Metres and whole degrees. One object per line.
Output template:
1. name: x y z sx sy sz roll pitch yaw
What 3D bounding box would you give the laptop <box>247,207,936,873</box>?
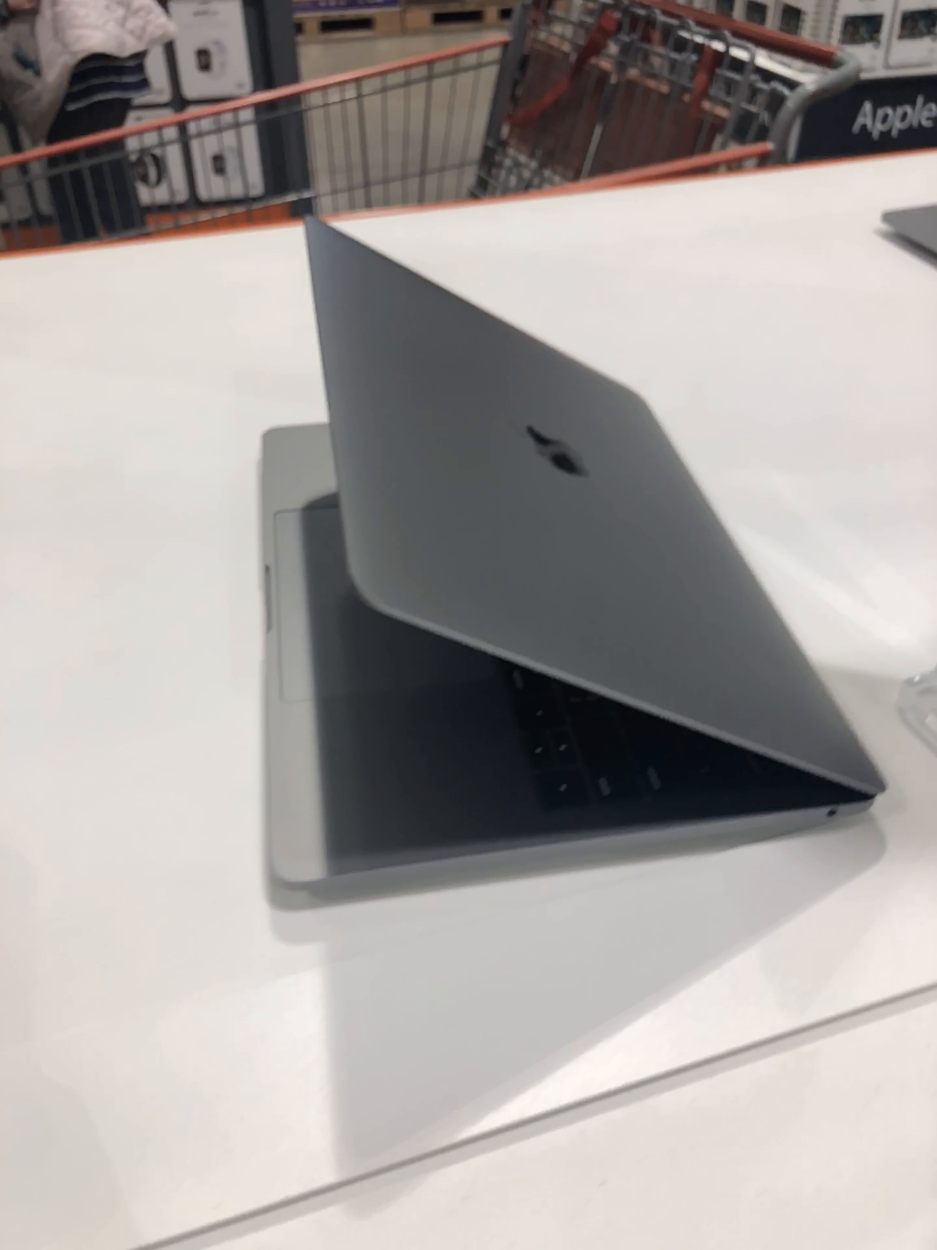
1. laptop: 0.018 -0.064 0.437 0.204 0.109 0.296 -6 40 -6
